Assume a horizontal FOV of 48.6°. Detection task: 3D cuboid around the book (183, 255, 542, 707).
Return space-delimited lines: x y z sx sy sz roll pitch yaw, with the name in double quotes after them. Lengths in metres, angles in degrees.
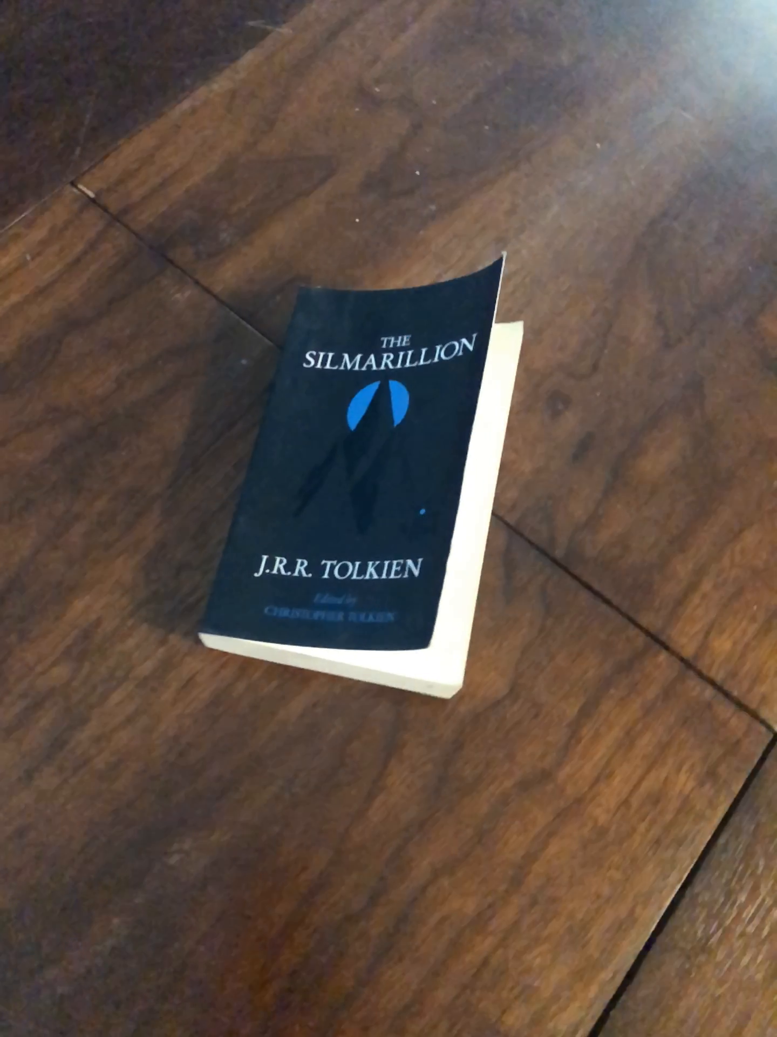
-0.005 -0.021 0.381 0.119 0.040 0.180 11 68 0 "book"
